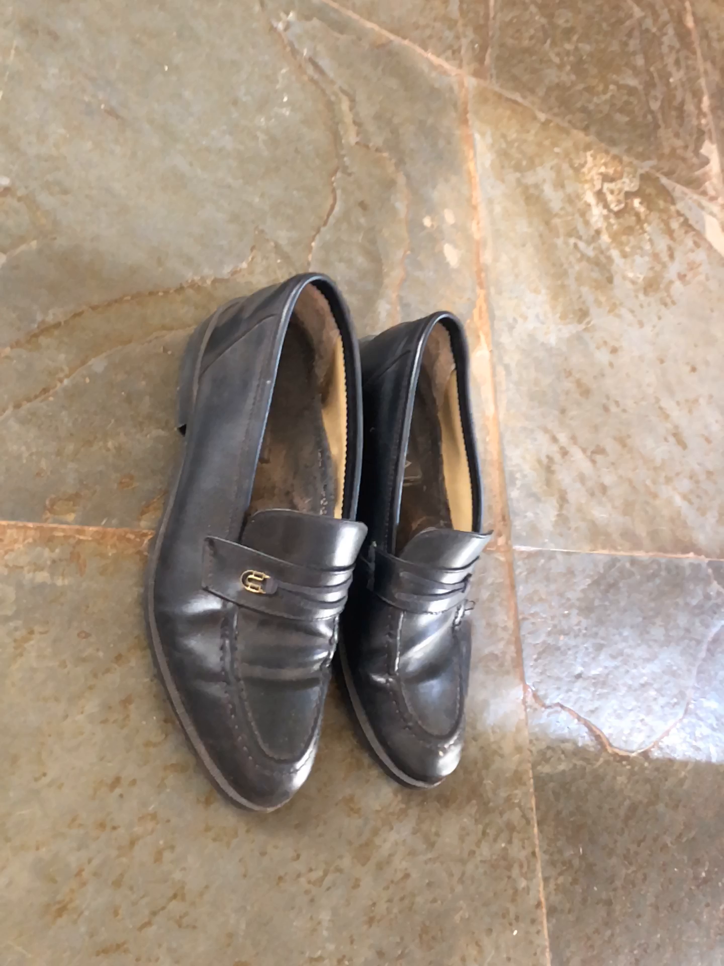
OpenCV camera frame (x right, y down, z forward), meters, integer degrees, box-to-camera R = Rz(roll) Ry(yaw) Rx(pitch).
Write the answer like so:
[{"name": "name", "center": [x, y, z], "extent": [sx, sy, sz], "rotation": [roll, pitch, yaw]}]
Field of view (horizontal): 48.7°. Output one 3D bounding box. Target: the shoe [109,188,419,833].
[{"name": "shoe", "center": [-0.052, 0.014, 0.384], "extent": [0.100, 0.099, 0.260], "rotation": [7, 73, -35]}]

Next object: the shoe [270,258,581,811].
[{"name": "shoe", "center": [0.028, 0.027, 0.441], "extent": [0.101, 0.099, 0.260], "rotation": [2, 76, -36]}]
